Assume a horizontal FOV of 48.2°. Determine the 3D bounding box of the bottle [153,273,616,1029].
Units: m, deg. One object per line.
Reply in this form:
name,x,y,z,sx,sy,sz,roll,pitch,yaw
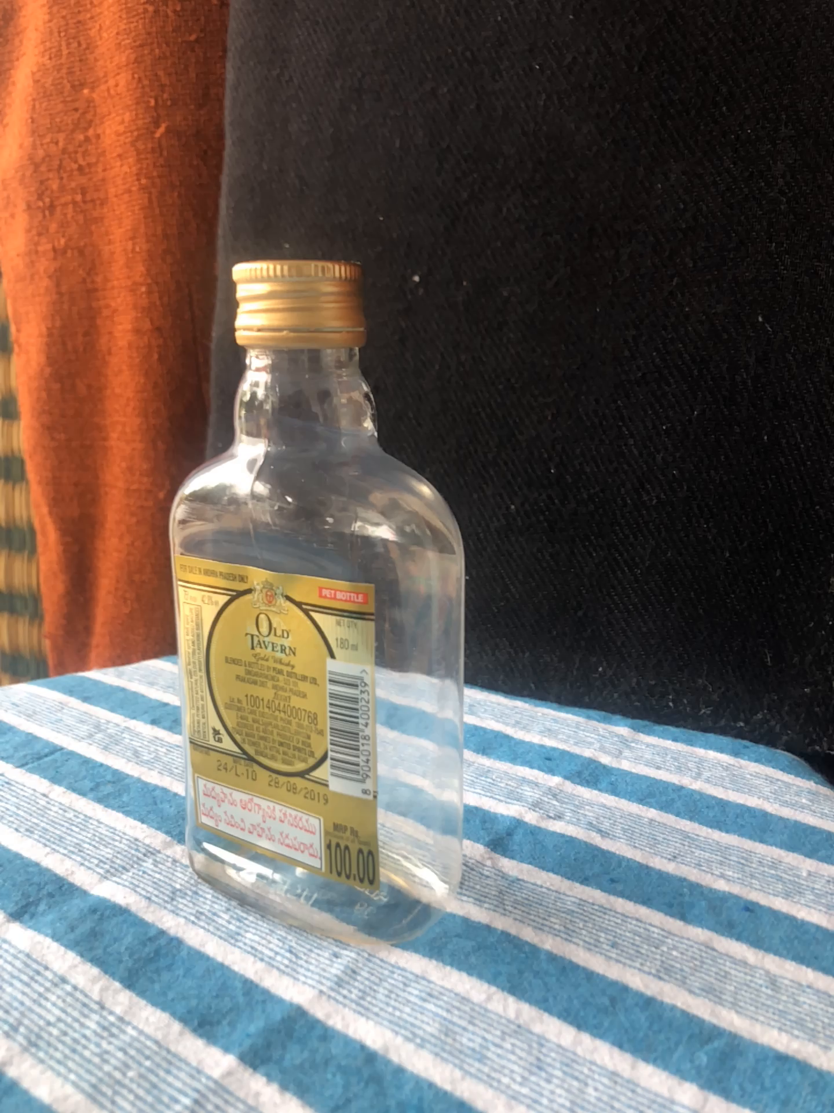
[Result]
bottle,-0.008,0.013,0.198,0.080,0.140,0.040,10,19,31
